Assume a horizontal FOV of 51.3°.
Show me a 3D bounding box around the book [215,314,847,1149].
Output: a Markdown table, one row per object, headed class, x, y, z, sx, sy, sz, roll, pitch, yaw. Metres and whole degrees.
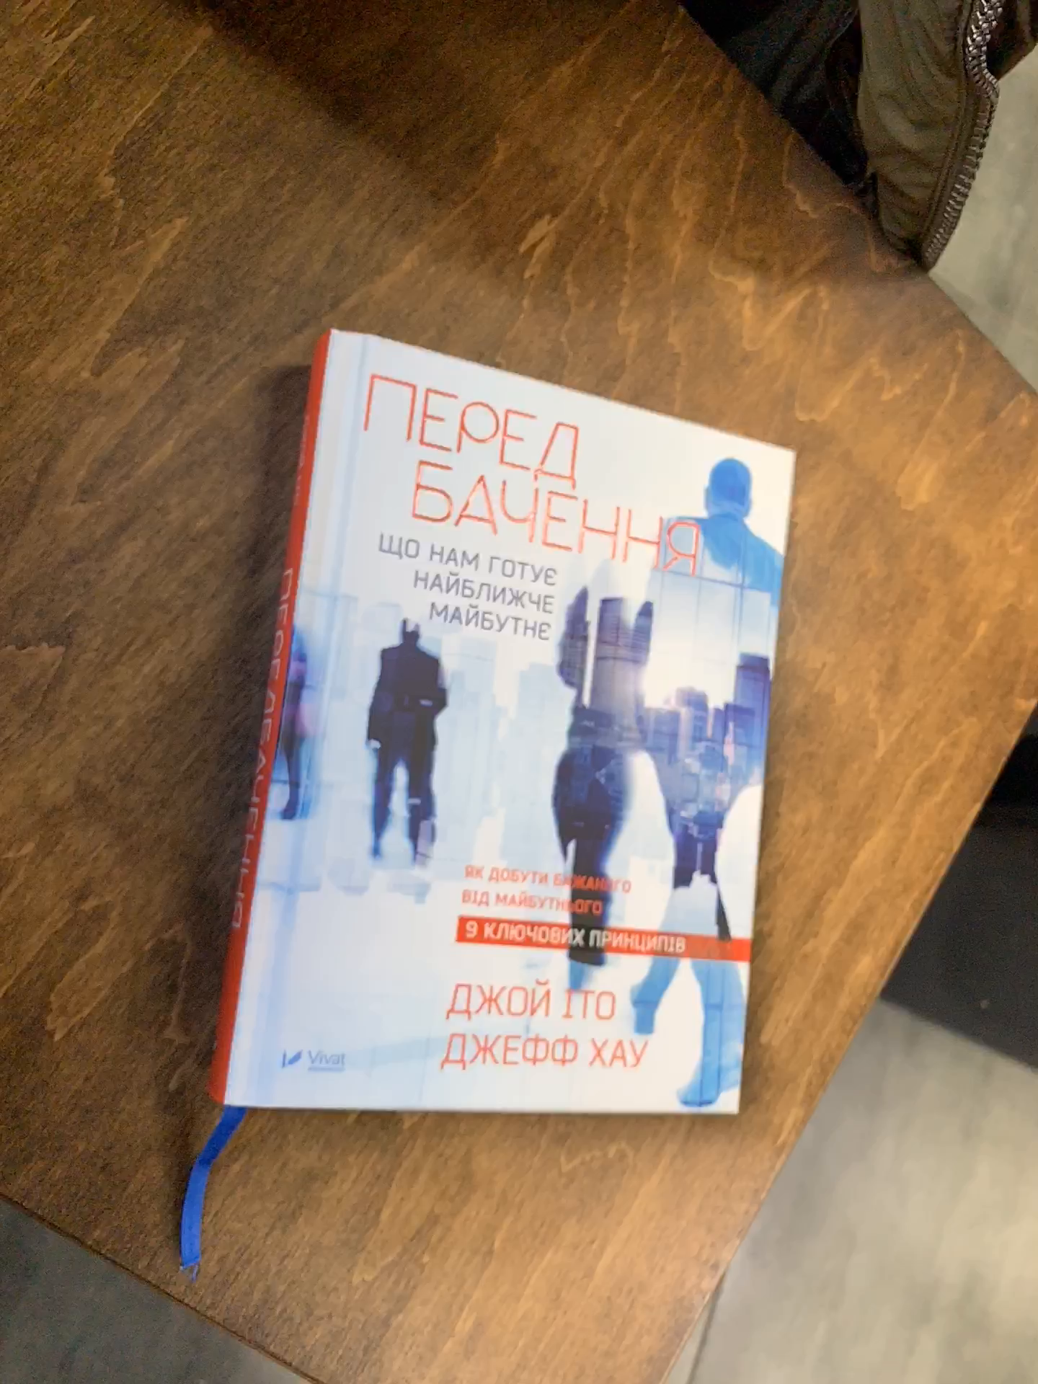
| class | x | y | z | sx | sy | sz | roll | pitch | yaw |
| --- | --- | --- | --- | --- | --- | --- | --- | --- | --- |
| book | 0.010 | 0.017 | 0.296 | 0.149 | 0.040 | 0.196 | 9 | 82 | -21 |
